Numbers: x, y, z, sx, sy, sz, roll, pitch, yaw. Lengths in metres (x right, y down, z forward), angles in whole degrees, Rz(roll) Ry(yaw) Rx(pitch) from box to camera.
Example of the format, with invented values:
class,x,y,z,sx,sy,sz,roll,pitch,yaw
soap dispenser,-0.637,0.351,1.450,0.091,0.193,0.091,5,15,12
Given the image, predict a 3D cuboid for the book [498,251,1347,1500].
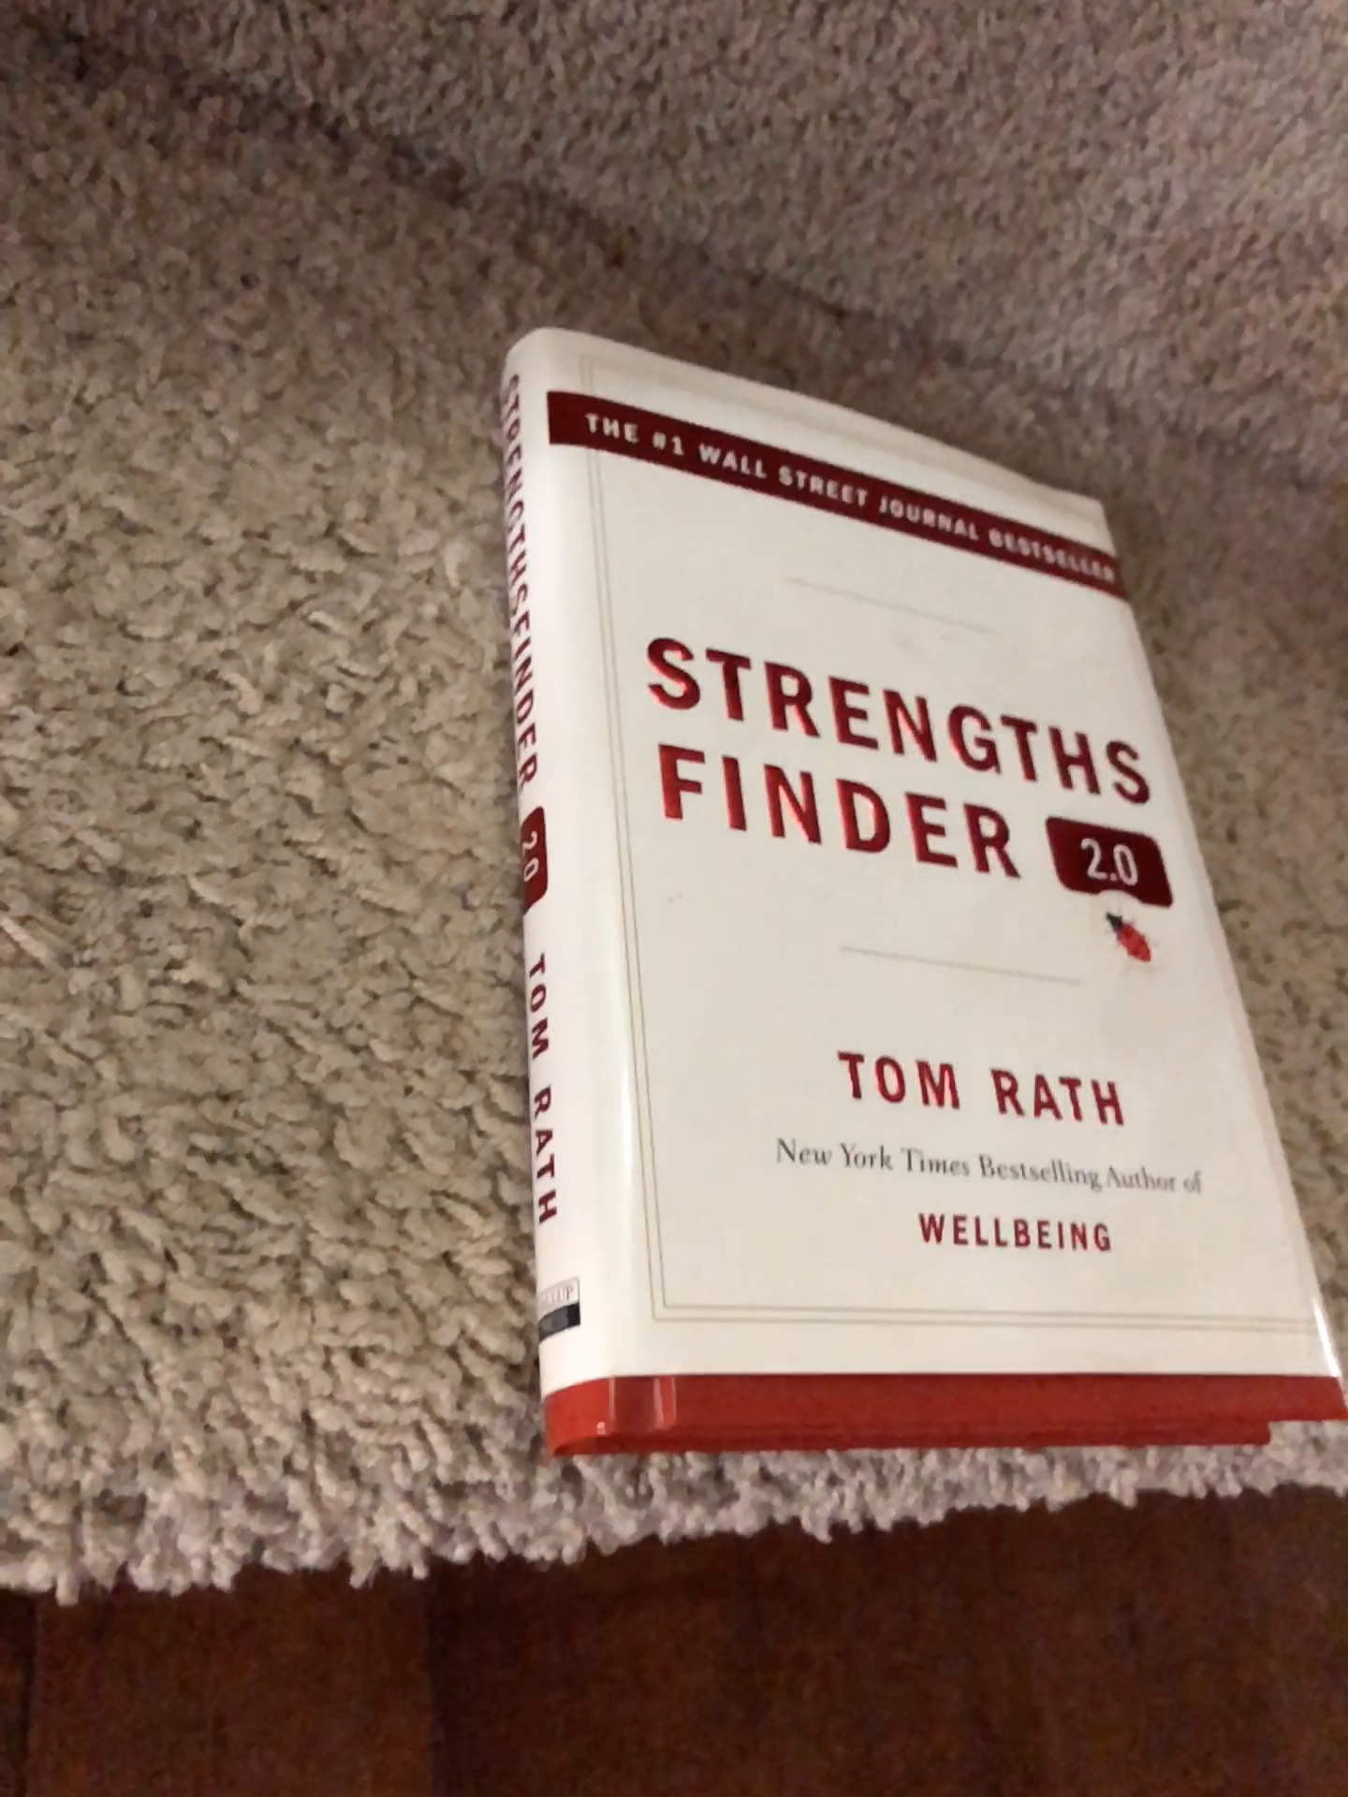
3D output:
class,x,y,z,sx,sy,sz,roll,pitch,yaw
book,0.041,-0.006,0.247,0.136,0.029,0.190,10,59,-25
